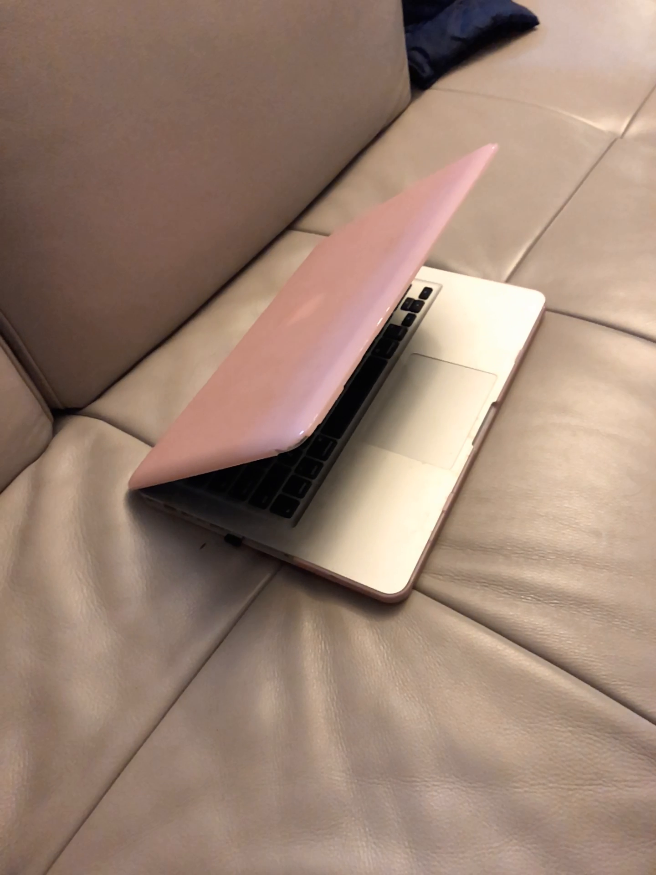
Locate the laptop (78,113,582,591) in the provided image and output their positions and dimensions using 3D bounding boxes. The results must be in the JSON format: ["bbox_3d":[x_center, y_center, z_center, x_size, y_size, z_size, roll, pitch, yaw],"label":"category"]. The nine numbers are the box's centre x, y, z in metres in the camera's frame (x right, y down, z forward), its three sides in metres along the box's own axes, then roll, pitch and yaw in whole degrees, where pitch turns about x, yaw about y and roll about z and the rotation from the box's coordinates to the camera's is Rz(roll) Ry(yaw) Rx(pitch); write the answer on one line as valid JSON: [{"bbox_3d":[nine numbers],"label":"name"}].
[{"bbox_3d":[0.020,-0.084,0.535,0.220,0.145,0.308,19,56,21],"label":"laptop"}]
